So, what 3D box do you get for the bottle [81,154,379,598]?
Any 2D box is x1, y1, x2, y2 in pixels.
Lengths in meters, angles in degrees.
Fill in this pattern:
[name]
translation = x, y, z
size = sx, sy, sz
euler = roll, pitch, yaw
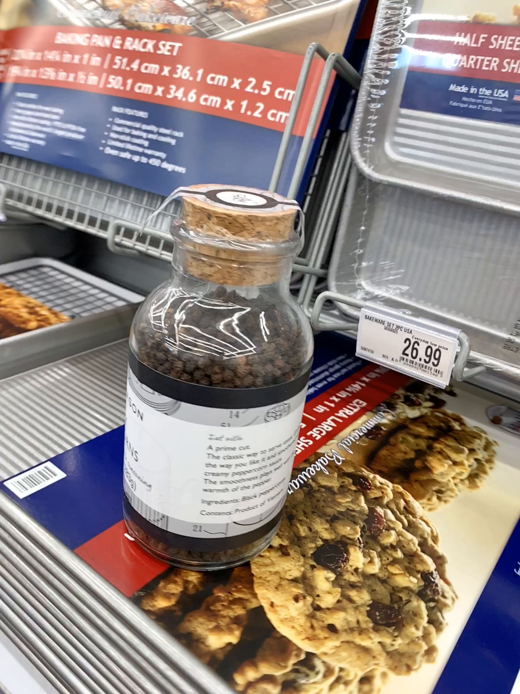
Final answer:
[bottle]
translation = -0.019, 0.010, 0.236
size = 0.090, 0.159, 0.090
euler = 7, 24, -3
